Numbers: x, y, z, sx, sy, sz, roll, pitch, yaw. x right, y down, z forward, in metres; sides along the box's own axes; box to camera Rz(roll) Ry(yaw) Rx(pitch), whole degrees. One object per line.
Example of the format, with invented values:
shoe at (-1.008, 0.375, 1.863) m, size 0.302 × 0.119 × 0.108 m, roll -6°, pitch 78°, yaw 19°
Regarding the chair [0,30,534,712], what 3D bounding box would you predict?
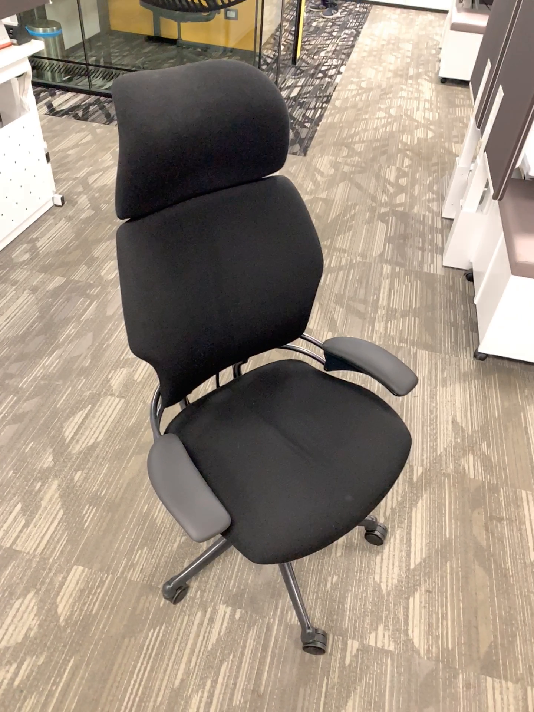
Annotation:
chair at (0.022, 0.042, 1.165) m, size 0.693 × 1.091 × 0.773 m, roll -29°, pitch 52°, yaw -32°
